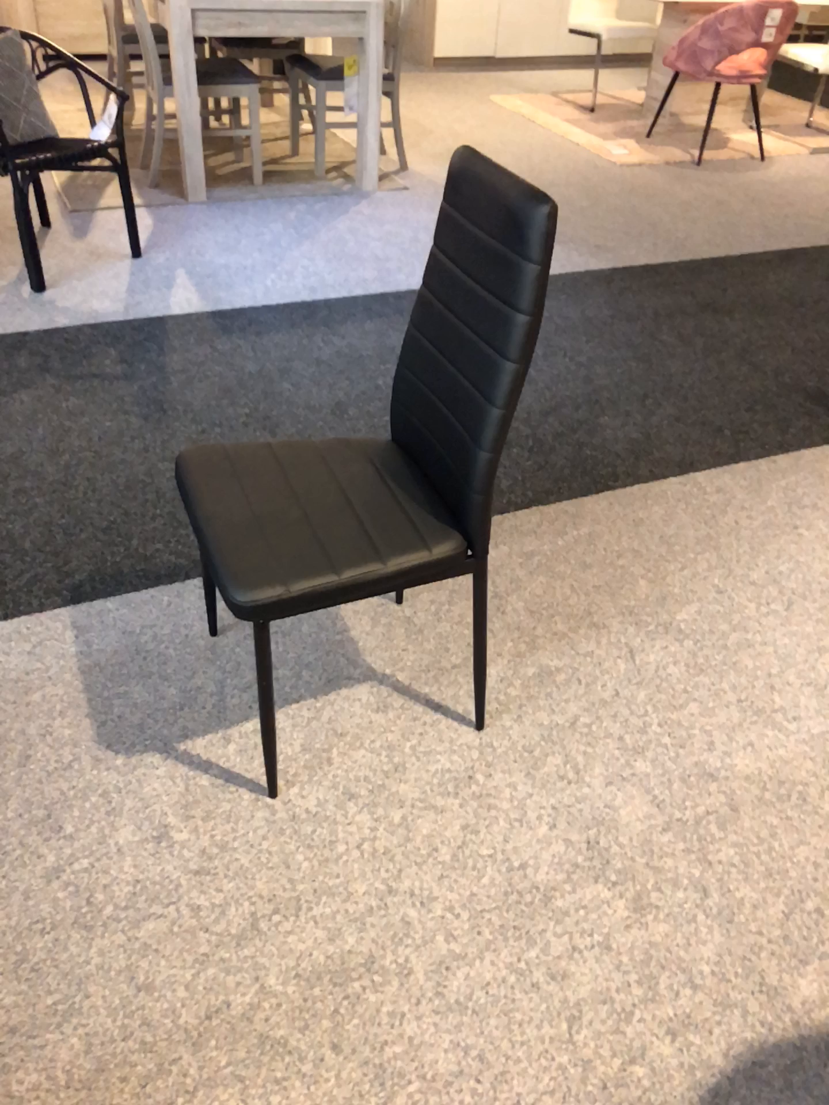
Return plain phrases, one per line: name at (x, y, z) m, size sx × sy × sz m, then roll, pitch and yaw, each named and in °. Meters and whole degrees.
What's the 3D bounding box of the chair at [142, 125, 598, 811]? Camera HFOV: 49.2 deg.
chair at (-0.109, -0.124, 1.464) m, size 0.471 × 0.934 × 0.472 m, roll -11°, pitch 39°, yaw -19°
